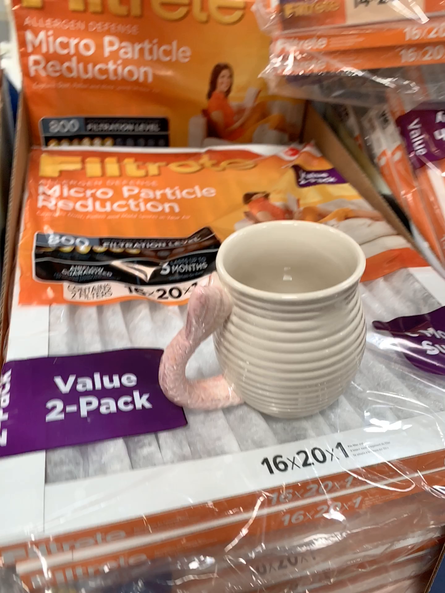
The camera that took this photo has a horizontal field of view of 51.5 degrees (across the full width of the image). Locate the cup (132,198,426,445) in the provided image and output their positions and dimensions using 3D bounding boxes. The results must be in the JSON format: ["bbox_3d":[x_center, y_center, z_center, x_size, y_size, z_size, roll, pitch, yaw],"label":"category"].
[{"bbox_3d":[0.024,0.009,0.288,0.141,0.089,0.101,-9,37,-10],"label":"cup"}]
